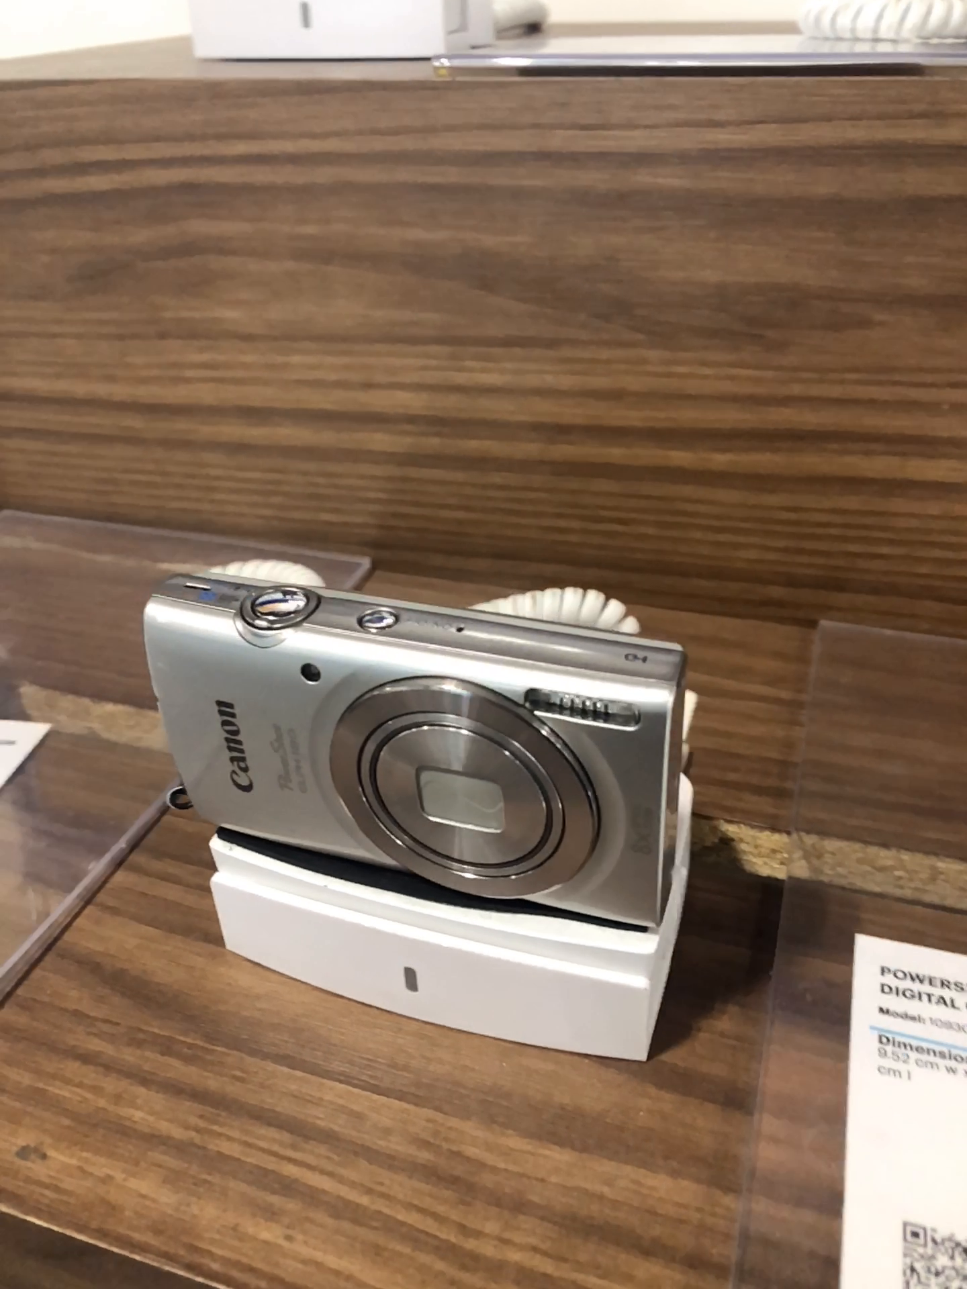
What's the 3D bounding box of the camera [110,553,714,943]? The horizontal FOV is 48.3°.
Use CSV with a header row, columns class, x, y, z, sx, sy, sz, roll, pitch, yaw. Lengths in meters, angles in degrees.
class,x,y,z,sx,sy,sz,roll,pitch,yaw
camera,-0.013,0.017,0.192,0.100,0.050,0.020,9,36,18
